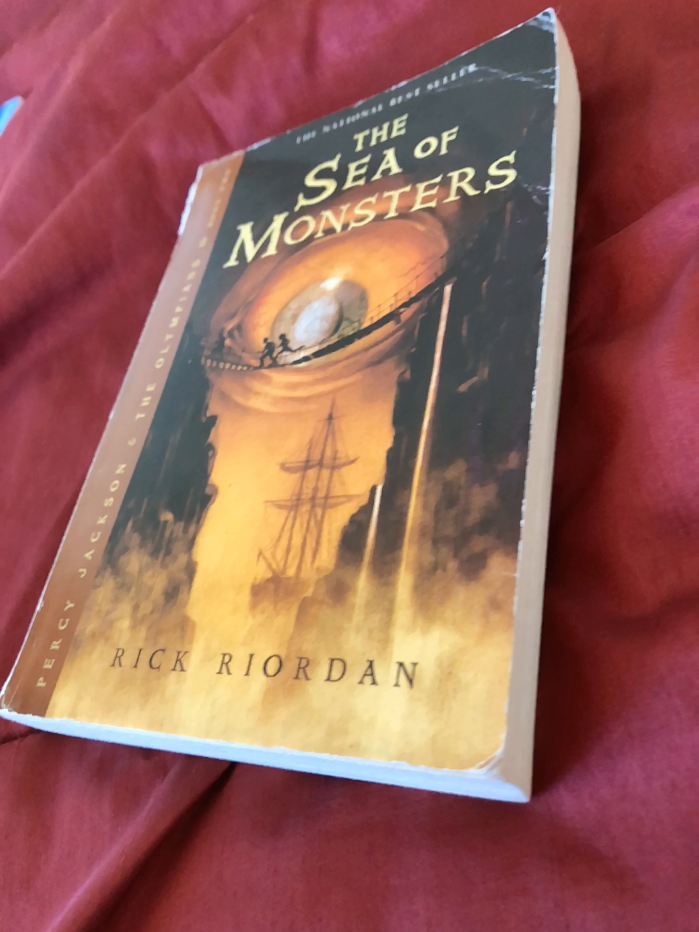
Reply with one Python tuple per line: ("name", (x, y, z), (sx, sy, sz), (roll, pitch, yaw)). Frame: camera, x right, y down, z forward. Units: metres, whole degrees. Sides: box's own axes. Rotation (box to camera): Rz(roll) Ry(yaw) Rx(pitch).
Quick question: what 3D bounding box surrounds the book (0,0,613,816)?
("book", (-0.011, -0.026, 0.209), (0.144, 0.030, 0.197), (-6, 60, 34))
